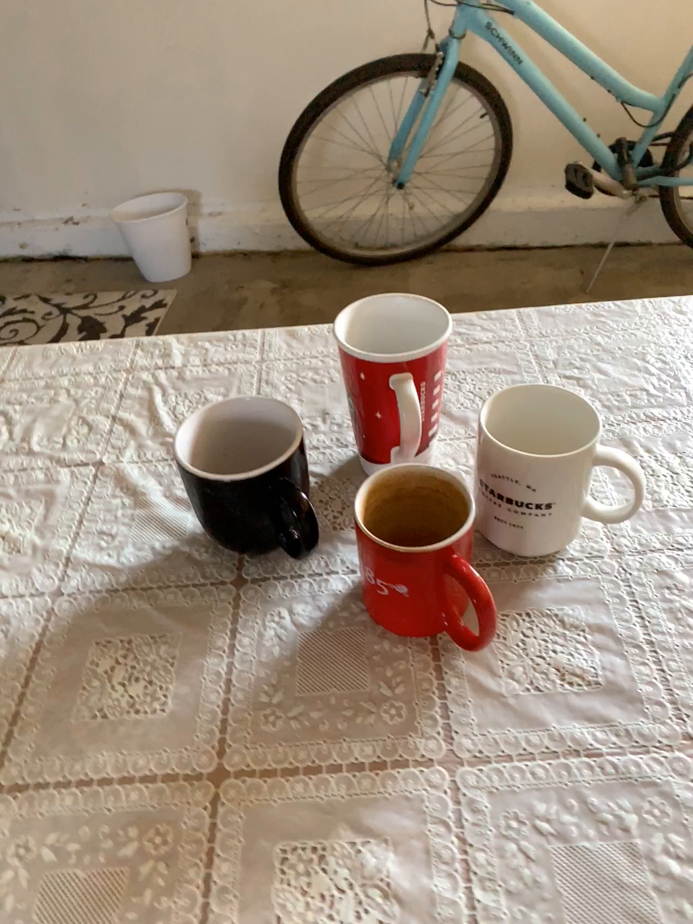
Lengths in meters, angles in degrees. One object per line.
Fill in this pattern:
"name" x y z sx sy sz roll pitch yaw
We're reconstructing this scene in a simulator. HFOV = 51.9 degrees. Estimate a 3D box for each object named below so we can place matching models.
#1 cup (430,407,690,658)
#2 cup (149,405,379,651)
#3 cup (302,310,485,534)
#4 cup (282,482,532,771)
"cup" 0.146 0.045 0.508 0.140 0.090 0.100 23 50 28
"cup" -0.064 0.046 0.561 0.100 0.090 0.151 -32 48 -25
"cup" 0.033 -0.035 0.558 0.100 0.090 0.141 -13 43 -7
"cup" 0.035 0.098 0.445 0.080 0.090 0.131 -30 48 -23
